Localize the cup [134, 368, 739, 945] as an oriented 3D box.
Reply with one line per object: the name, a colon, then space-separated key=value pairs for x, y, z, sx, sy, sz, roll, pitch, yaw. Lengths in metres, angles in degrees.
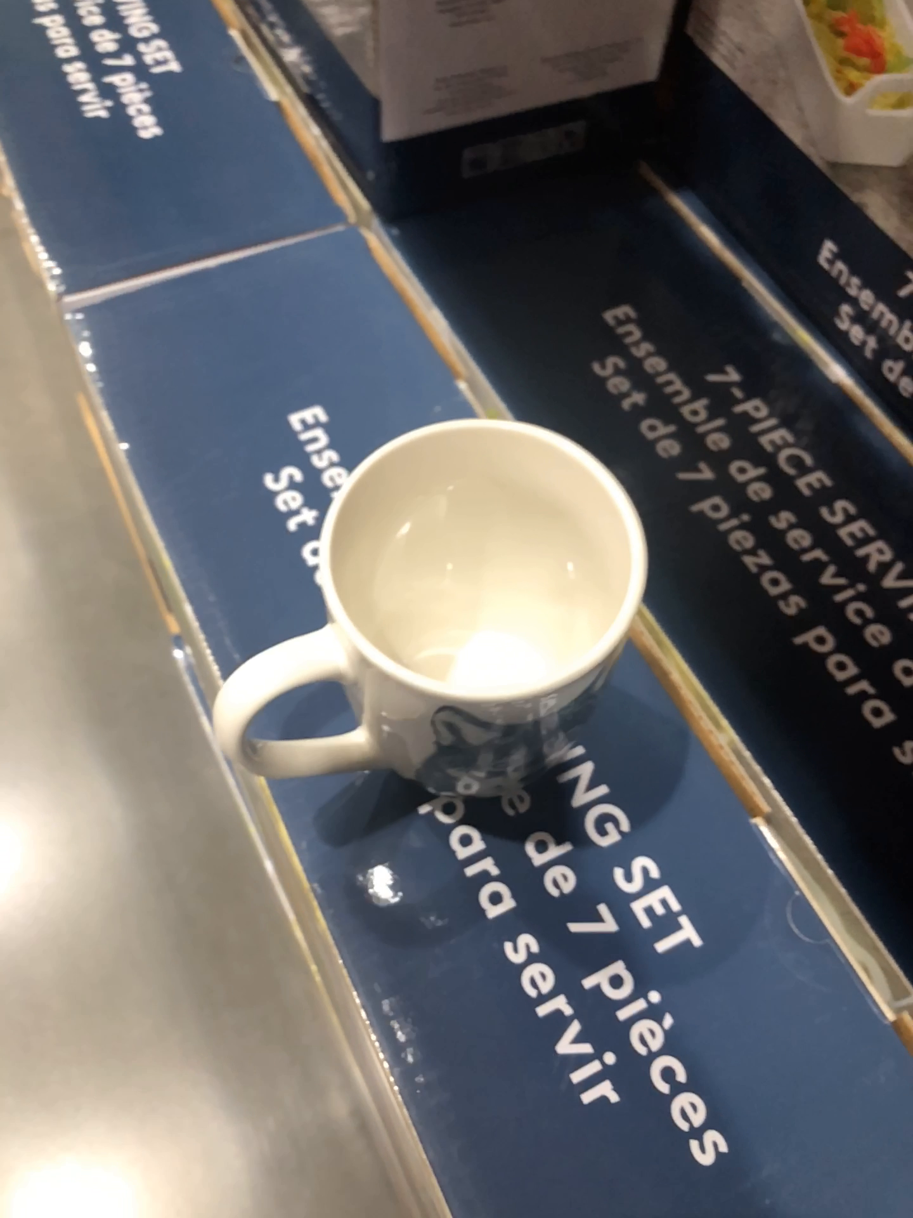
cup: x=-0.008 y=0.015 z=0.308 sx=0.128 sy=0.102 sz=0.093 roll=-24 pitch=62 yaw=-17
